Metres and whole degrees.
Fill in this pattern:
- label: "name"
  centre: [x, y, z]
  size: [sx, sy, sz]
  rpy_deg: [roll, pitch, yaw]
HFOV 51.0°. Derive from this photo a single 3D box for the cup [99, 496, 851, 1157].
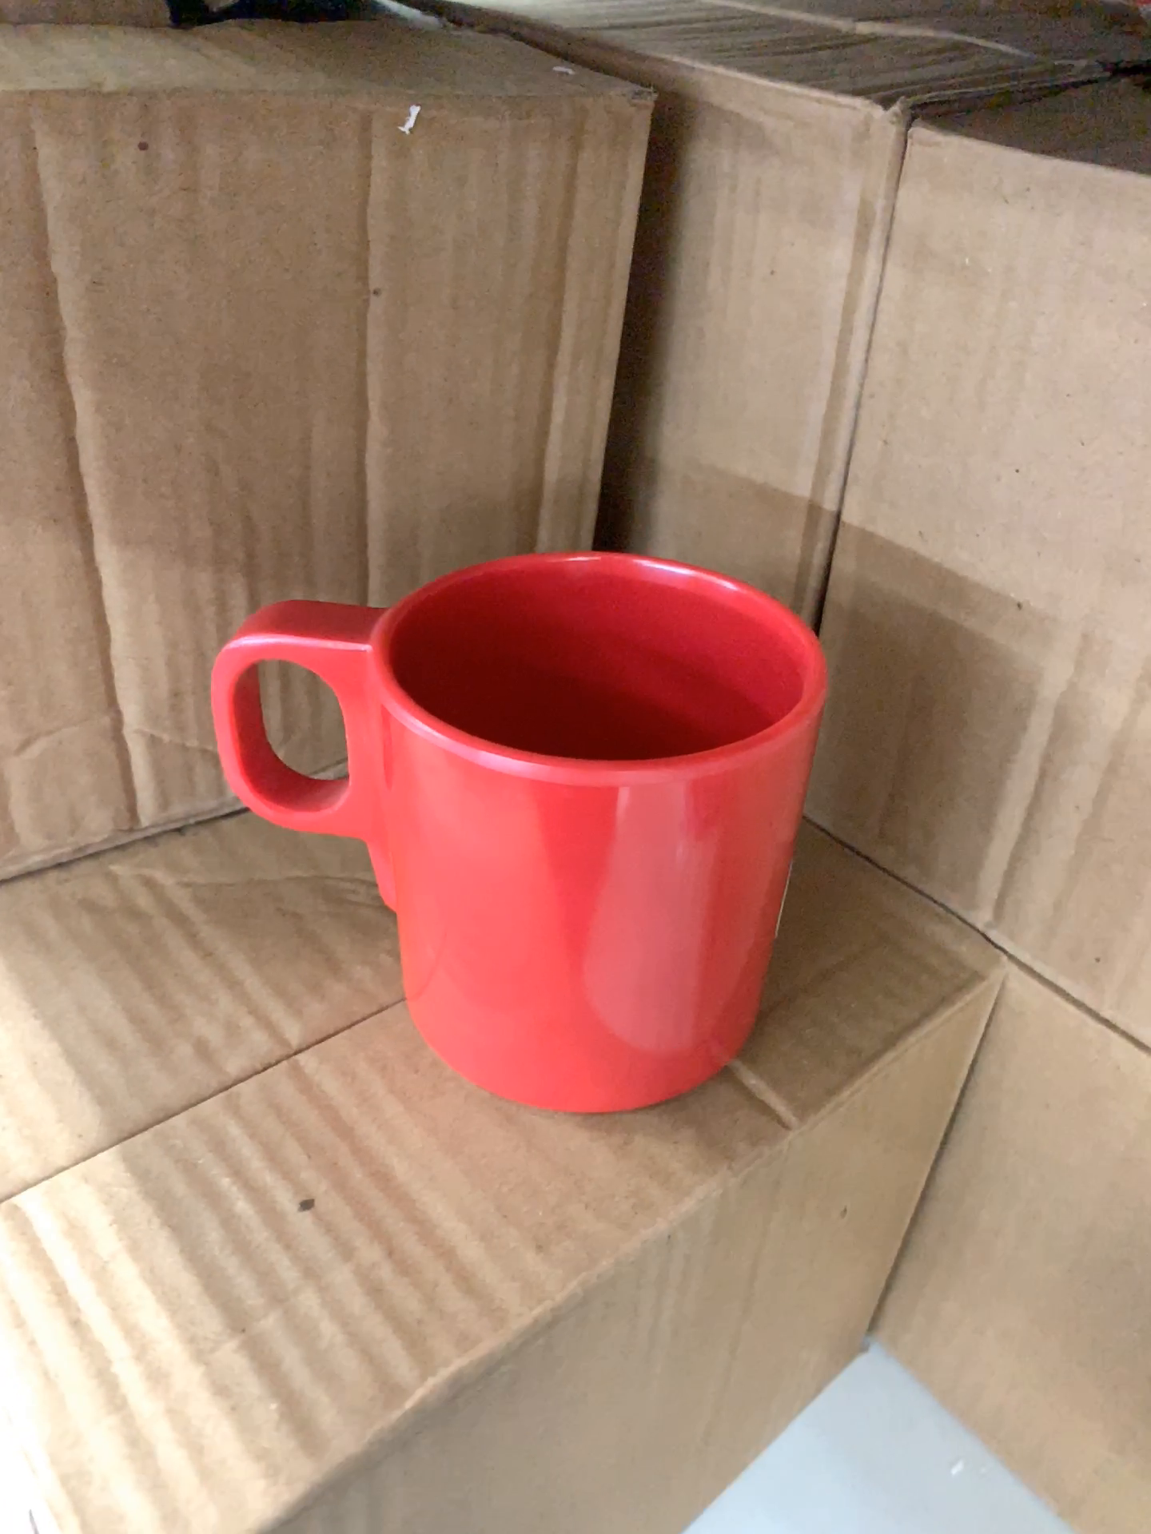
- label: "cup"
  centre: [-0.013, 0.006, 0.213]
  size: [0.103, 0.073, 0.066]
  rpy_deg: [11, 37, 11]
